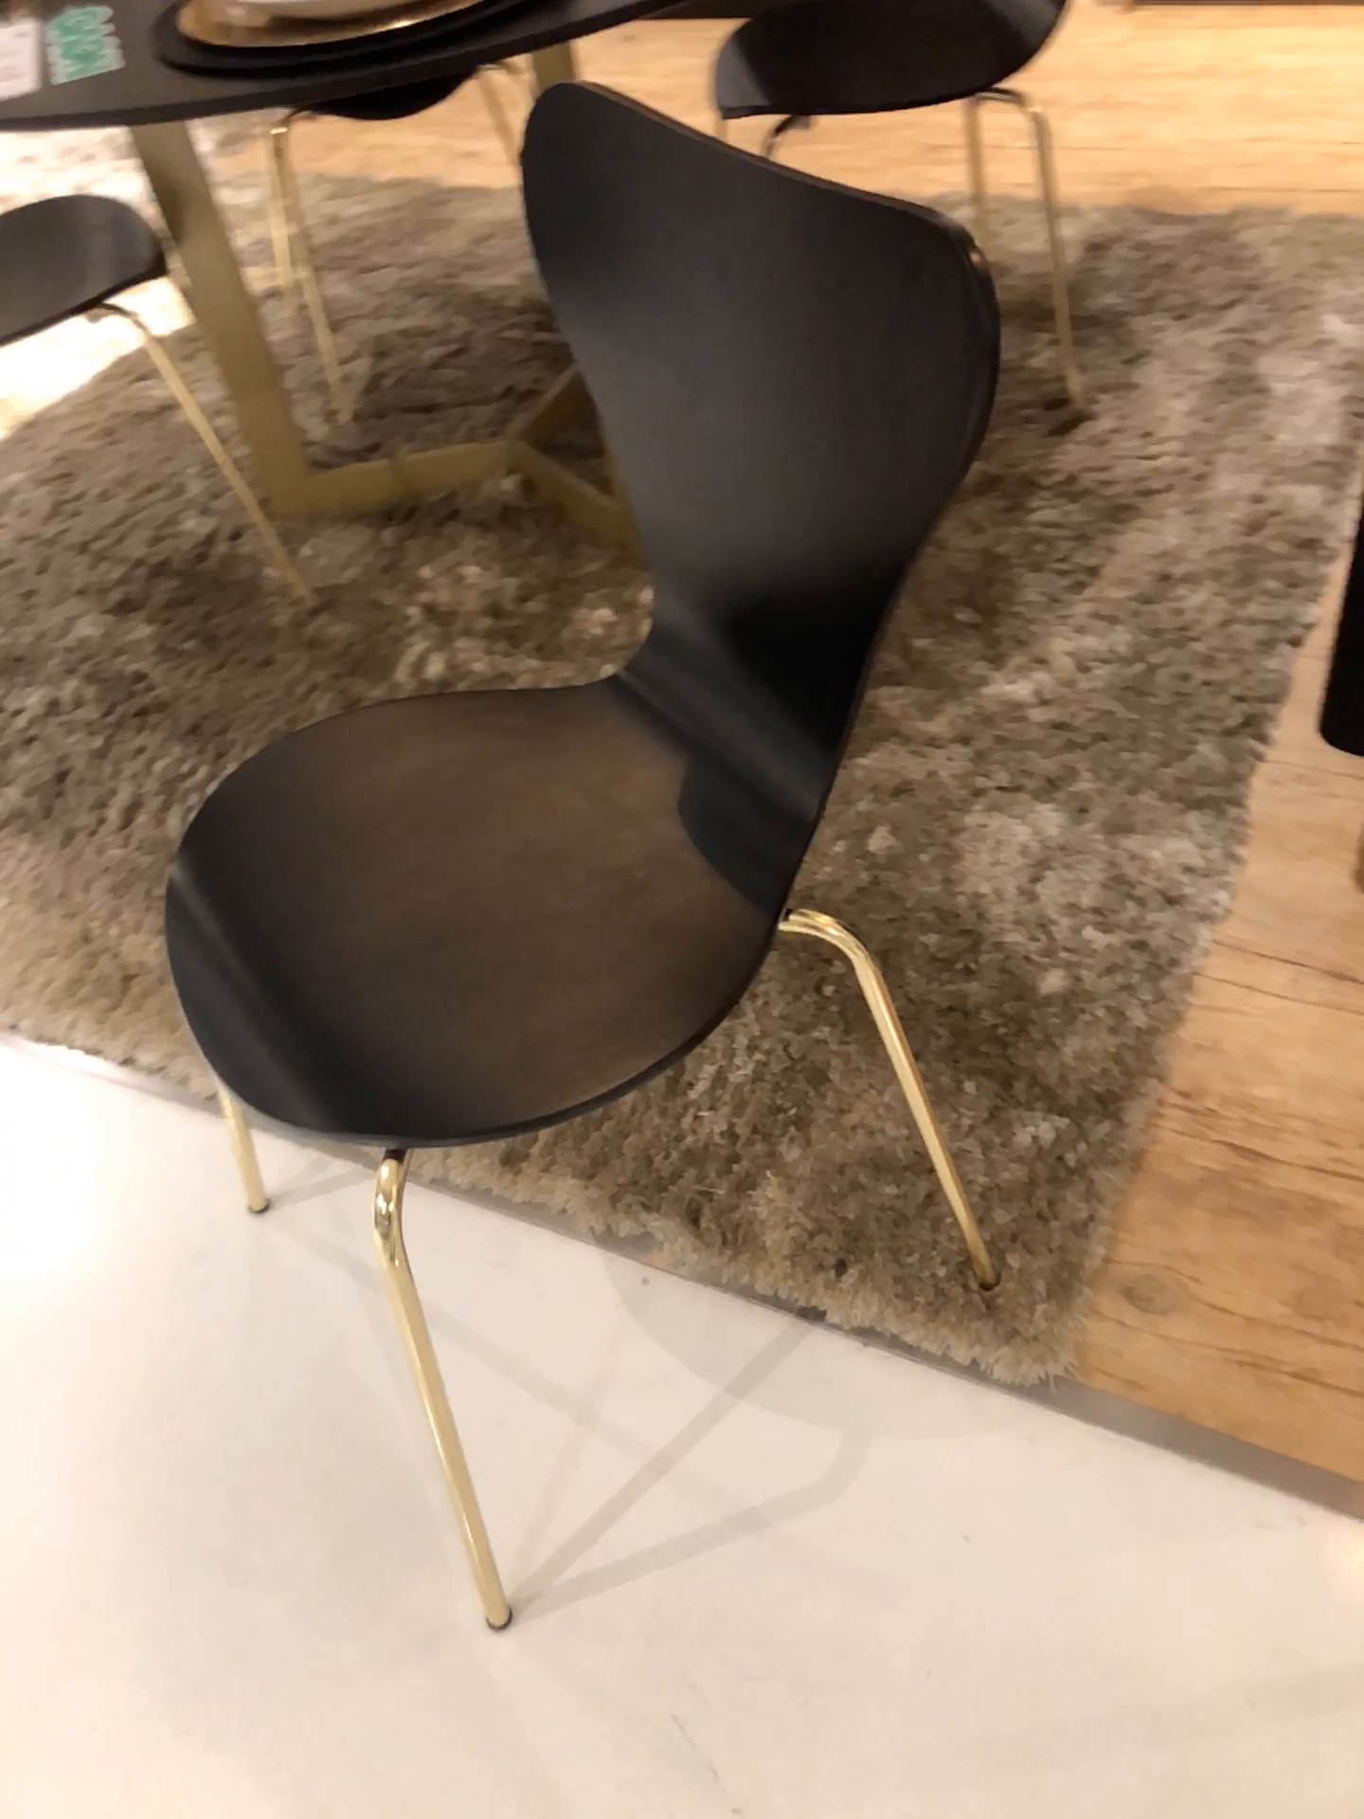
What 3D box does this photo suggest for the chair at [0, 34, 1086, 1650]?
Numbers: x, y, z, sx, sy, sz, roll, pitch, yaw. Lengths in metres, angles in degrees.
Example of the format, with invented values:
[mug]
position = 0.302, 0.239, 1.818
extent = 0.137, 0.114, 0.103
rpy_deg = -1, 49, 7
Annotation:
[chair]
position = -0.125, -0.027, 0.962
extent = 0.501, 0.755, 0.503
rpy_deg = -31, 48, -18
